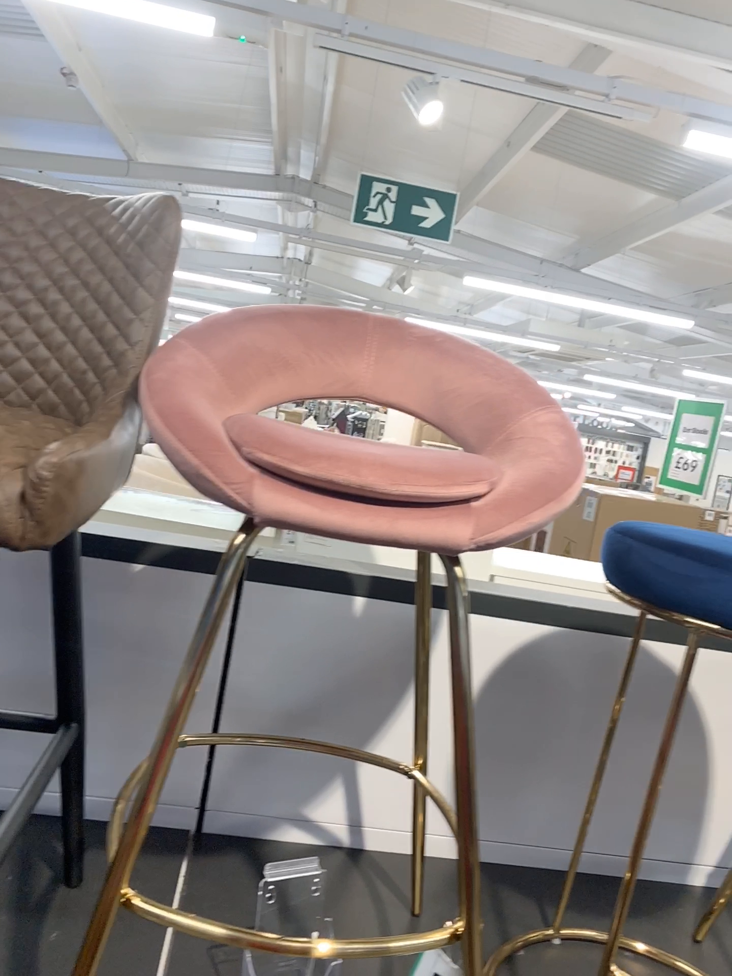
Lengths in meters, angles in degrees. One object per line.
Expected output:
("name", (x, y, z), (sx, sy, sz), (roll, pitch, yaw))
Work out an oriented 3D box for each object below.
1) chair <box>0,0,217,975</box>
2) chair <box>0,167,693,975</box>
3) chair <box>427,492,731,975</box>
("chair", (-0.499, 0.071, 0.786), (0.502, 0.959, 0.452), (9, 5, -9))
("chair", (-0.059, 0.188, 0.857), (0.492, 0.859, 0.462), (10, 5, -3))
("chair", (0.379, 0.373, 0.882), (0.462, 0.619, 0.432), (10, 5, -3))
